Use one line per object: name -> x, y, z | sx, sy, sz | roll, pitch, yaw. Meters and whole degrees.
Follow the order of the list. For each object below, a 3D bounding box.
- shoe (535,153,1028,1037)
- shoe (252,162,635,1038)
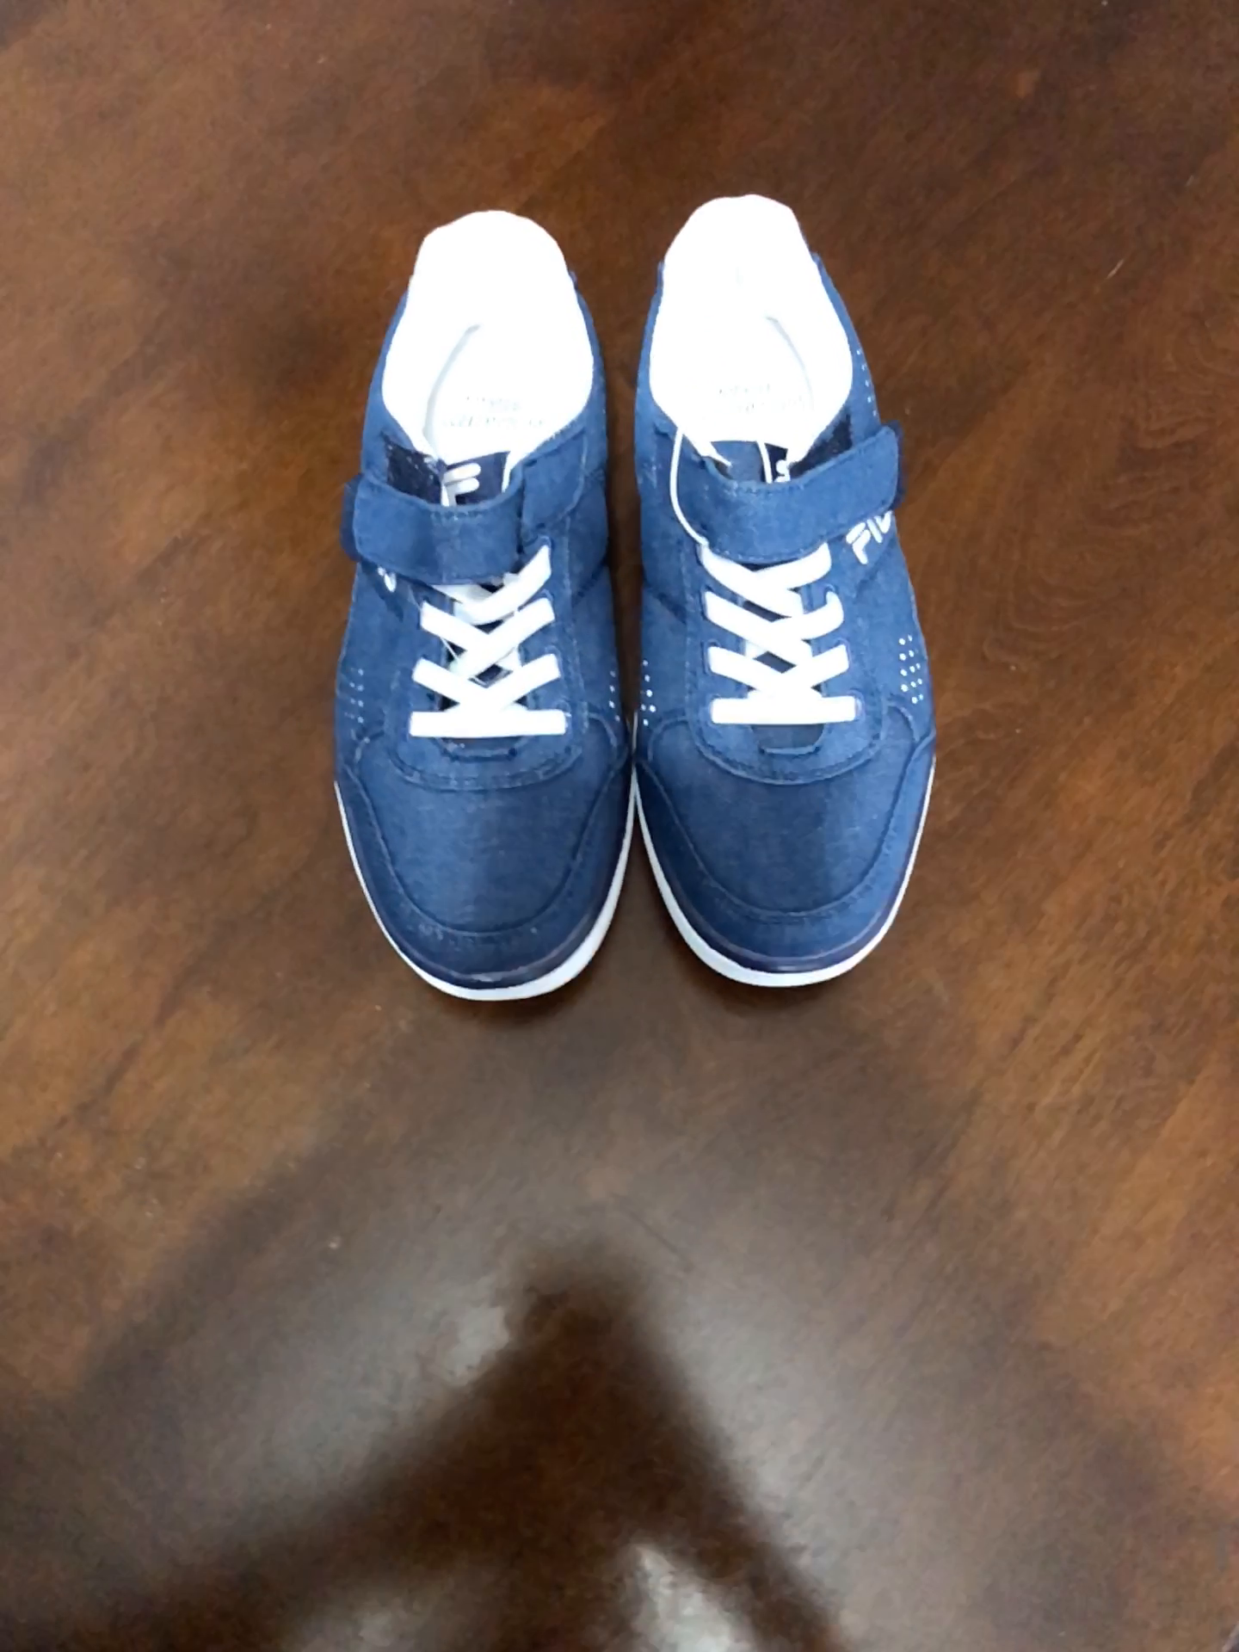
shoe -> 0.037, -0.069, 0.405 | 0.100, 0.080, 0.240 | -5, 71, -2
shoe -> -0.043, -0.066, 0.400 | 0.090, 0.080, 0.240 | -1, 71, 0
